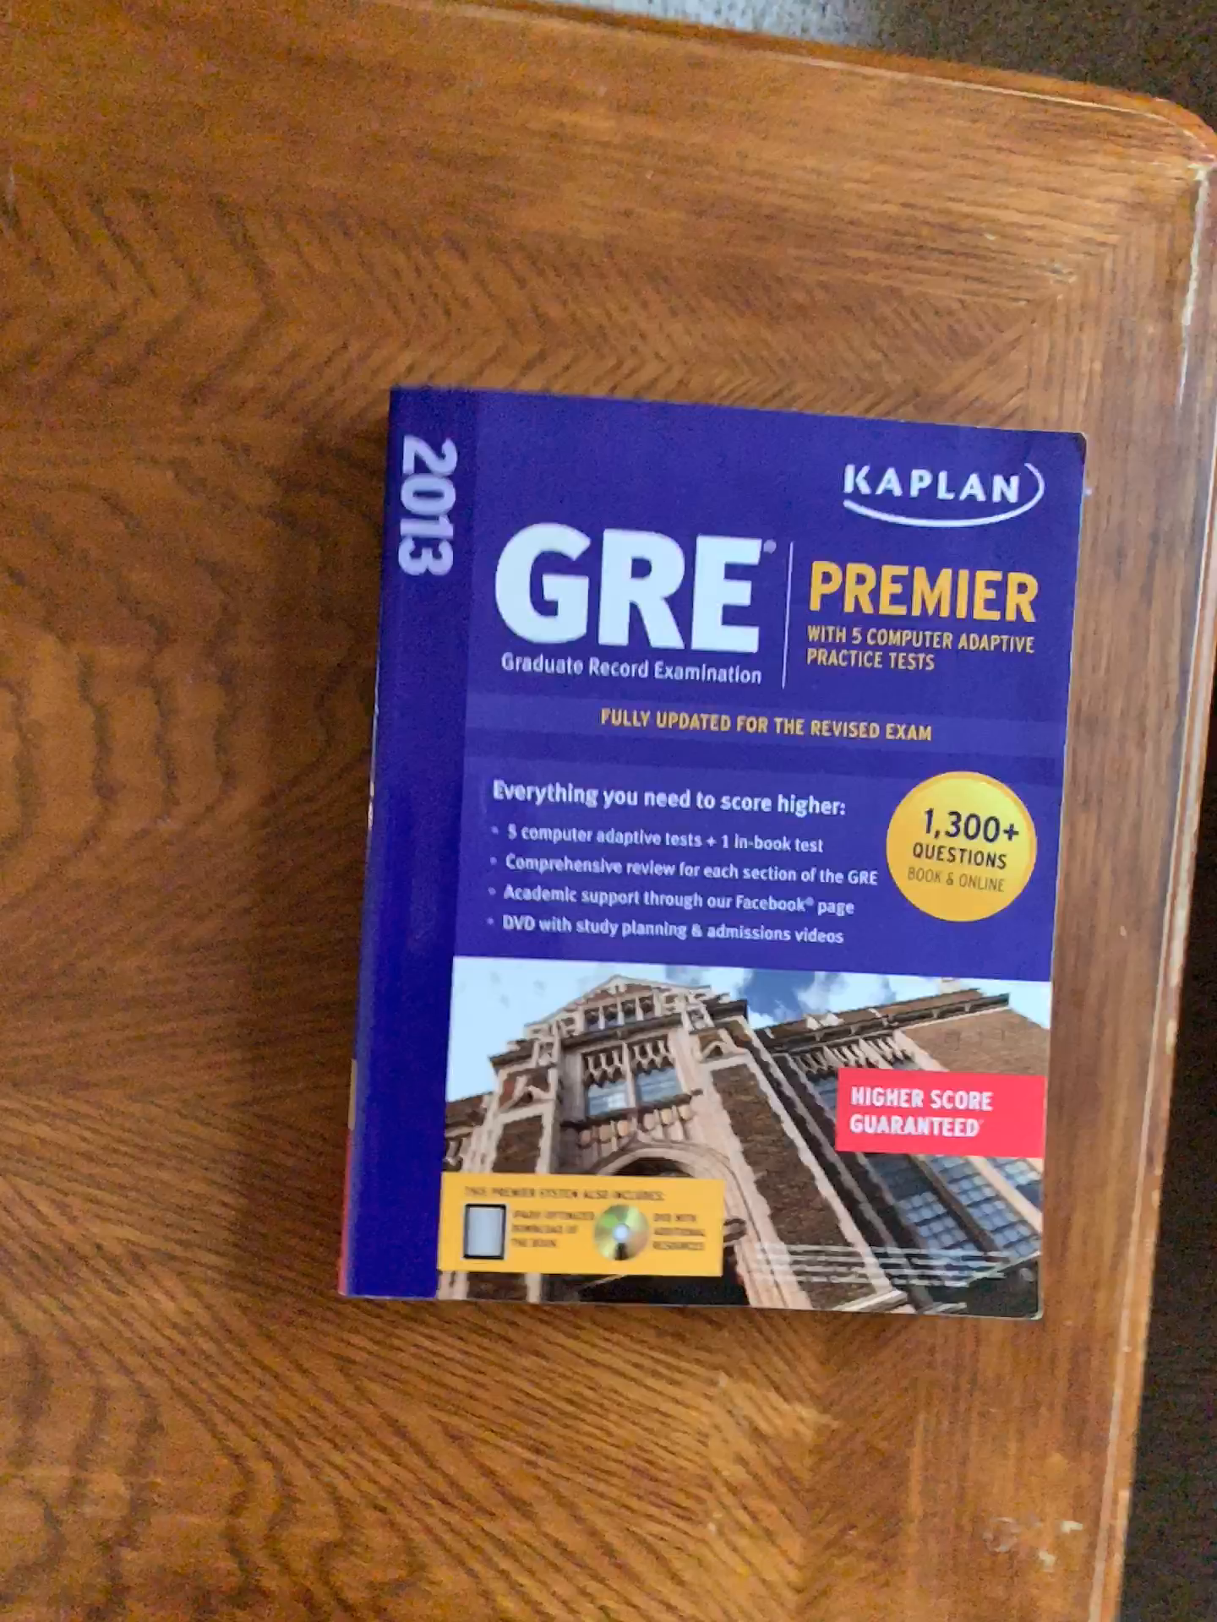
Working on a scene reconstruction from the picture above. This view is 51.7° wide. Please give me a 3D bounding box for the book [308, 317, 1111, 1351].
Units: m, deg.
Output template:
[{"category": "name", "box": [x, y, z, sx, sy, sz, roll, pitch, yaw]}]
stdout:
[{"category": "book", "box": [0.030, 0.010, 0.396, 0.220, 0.060, 0.290, 3, 90, -4]}]
